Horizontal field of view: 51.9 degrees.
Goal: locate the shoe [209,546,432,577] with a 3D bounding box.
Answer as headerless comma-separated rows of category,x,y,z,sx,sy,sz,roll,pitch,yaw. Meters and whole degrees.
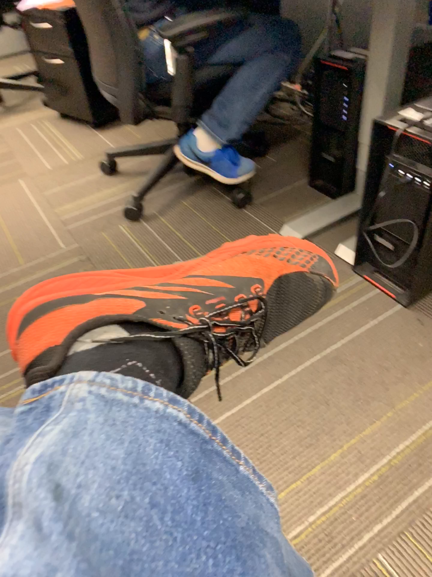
shoe,0.160,0.512,0.683,0.318,0.067,0.118,-12,46,-6

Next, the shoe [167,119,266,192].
shoe,0.002,-0.468,1.579,0.318,0.115,0.115,13,40,-26

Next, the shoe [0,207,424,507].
shoe,-0.013,0.041,0.391,0.321,0.110,0.146,-15,36,-11
